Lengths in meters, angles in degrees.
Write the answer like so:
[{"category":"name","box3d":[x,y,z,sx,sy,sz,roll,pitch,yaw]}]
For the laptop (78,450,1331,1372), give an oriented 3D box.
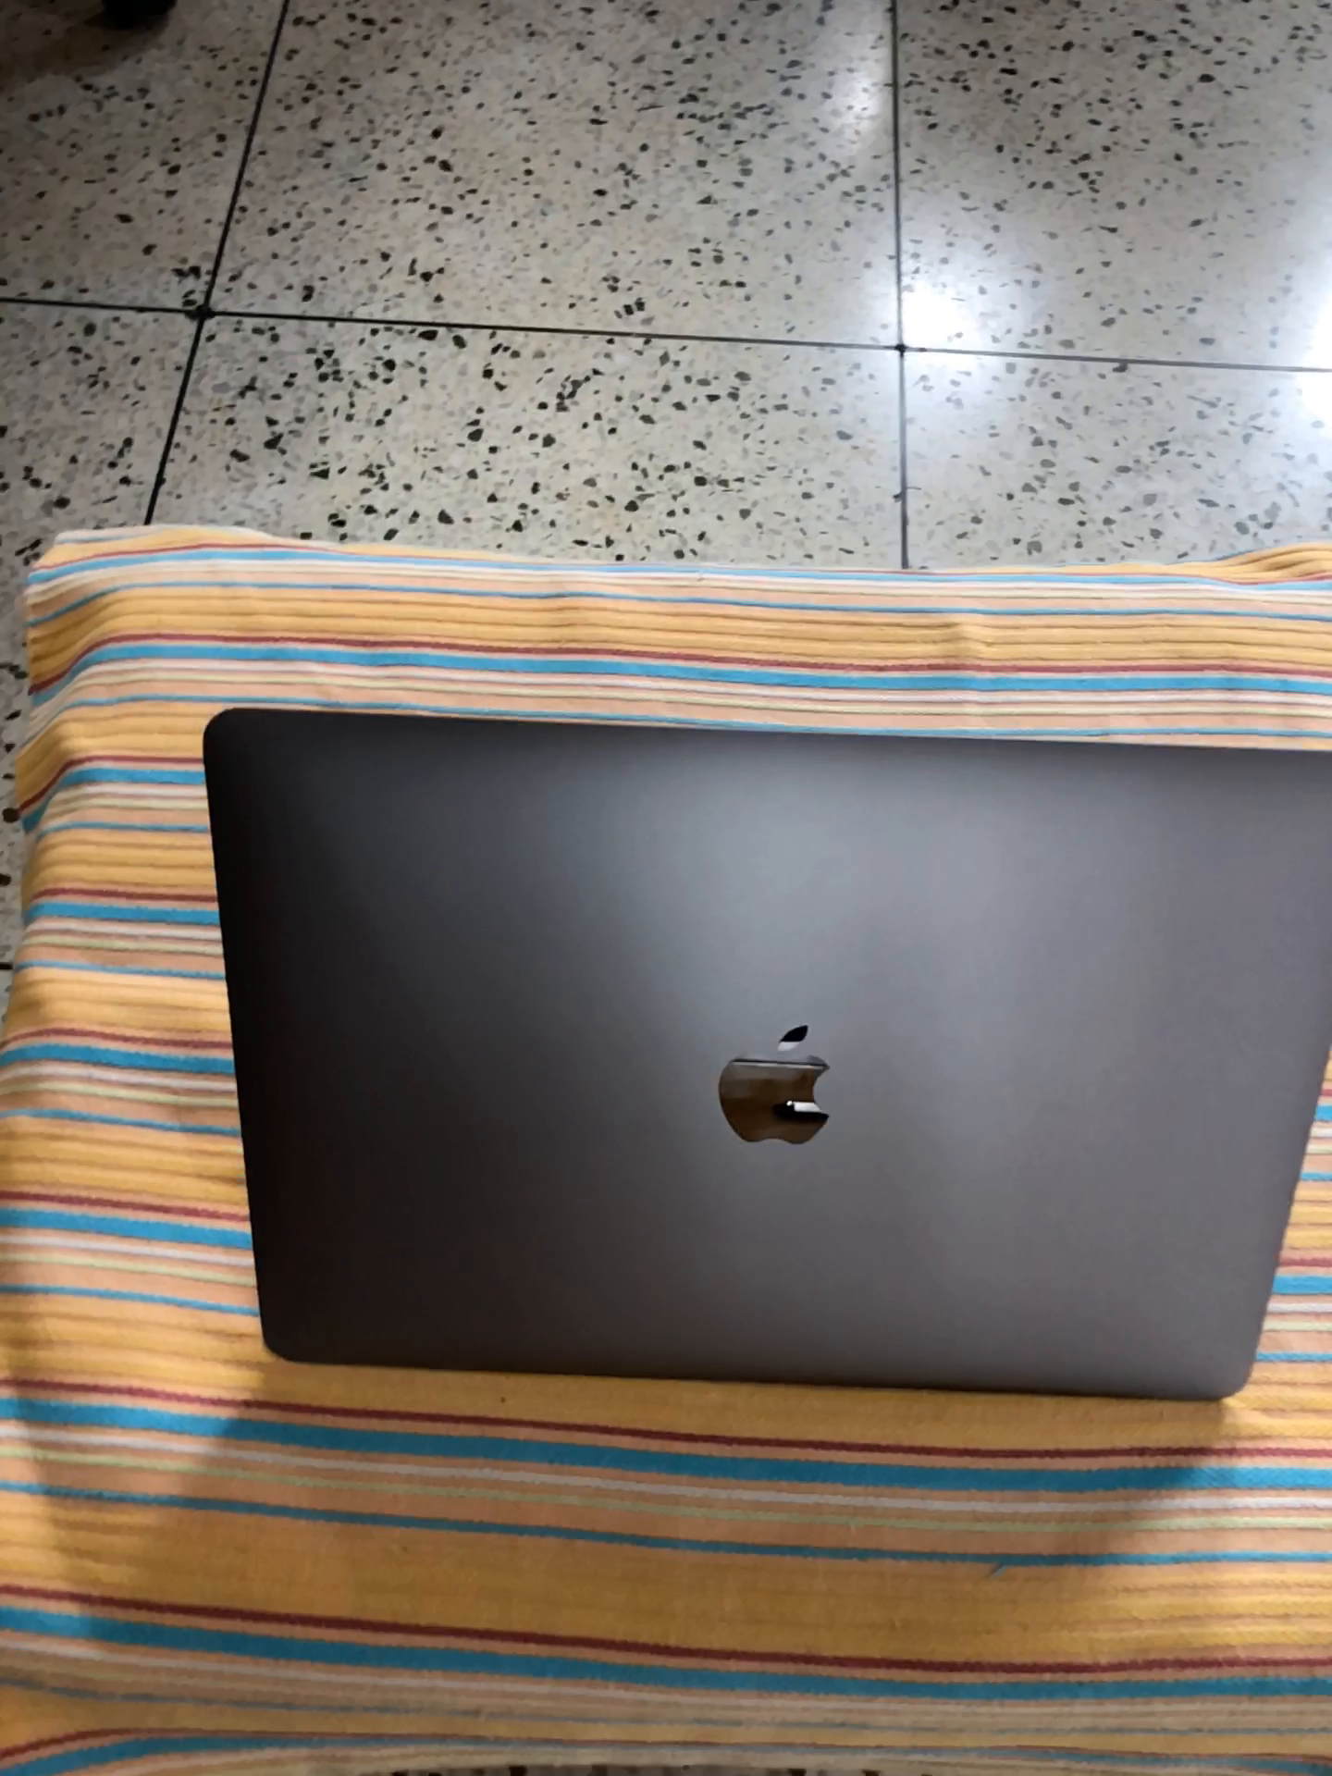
[{"category":"laptop","box3d":[0.024,0.014,0.431,0.294,0.160,0.204,4,64,1]}]
